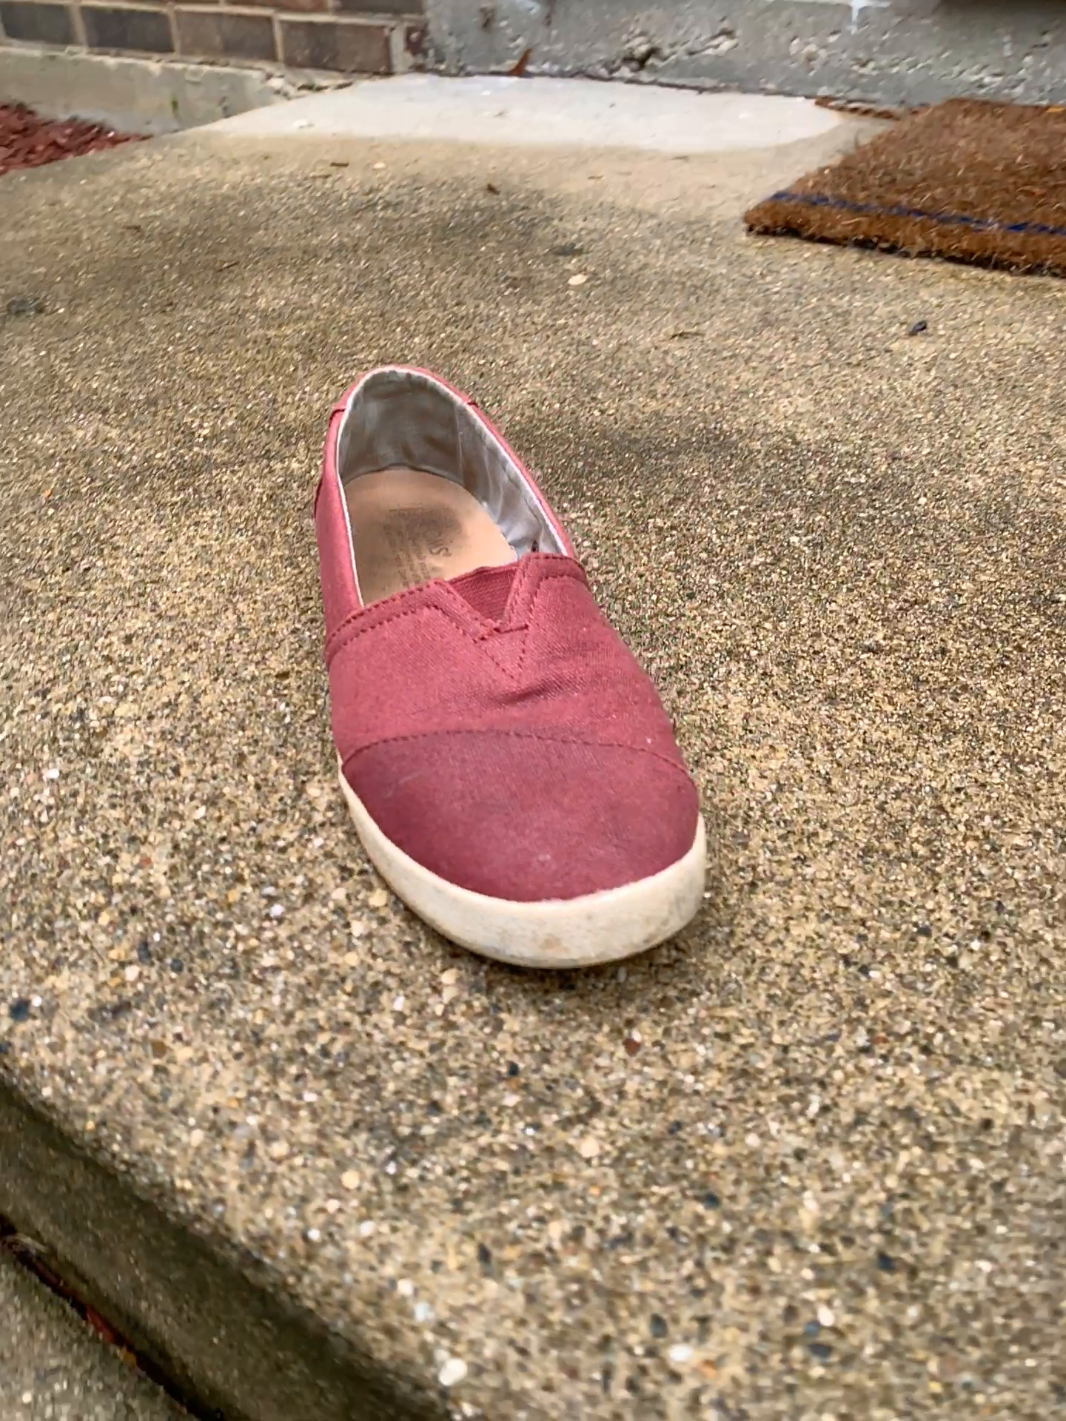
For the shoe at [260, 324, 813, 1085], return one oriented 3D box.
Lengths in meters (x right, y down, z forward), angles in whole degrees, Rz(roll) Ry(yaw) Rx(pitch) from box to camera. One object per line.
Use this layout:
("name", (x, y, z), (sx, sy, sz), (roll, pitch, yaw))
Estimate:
("shoe", (-0.021, -0.031, 0.352), (0.098, 0.089, 0.267), (-10, 39, -11))
